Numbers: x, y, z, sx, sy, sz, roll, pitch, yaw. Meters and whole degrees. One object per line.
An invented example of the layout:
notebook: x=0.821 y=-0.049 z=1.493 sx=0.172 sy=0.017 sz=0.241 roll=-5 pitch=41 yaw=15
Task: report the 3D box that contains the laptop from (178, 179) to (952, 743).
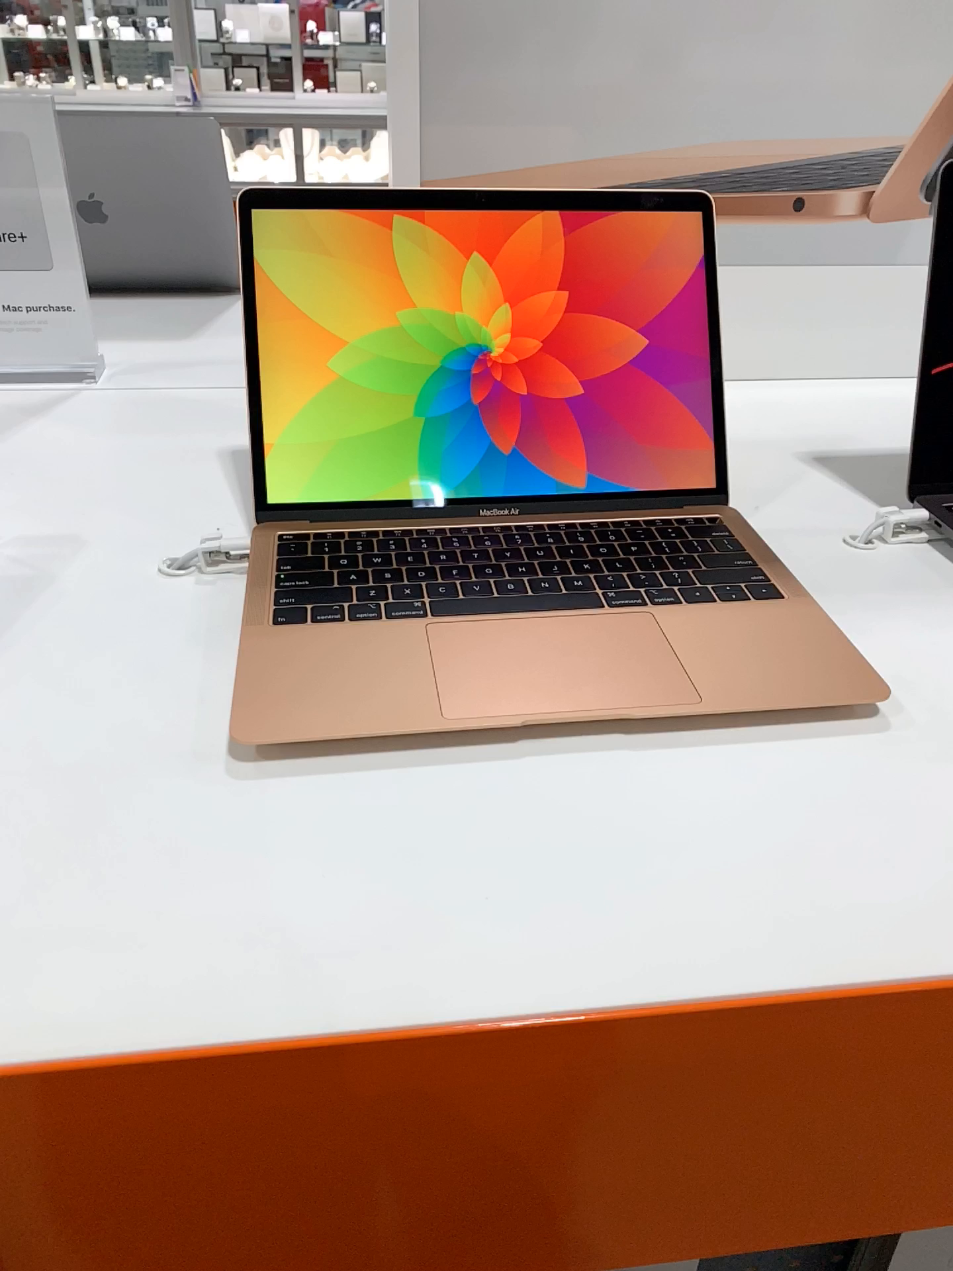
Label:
laptop: x=0.022 y=-0.121 z=0.515 sx=0.293 sy=0.170 sz=0.311 roll=-3 pitch=33 yaw=-8
